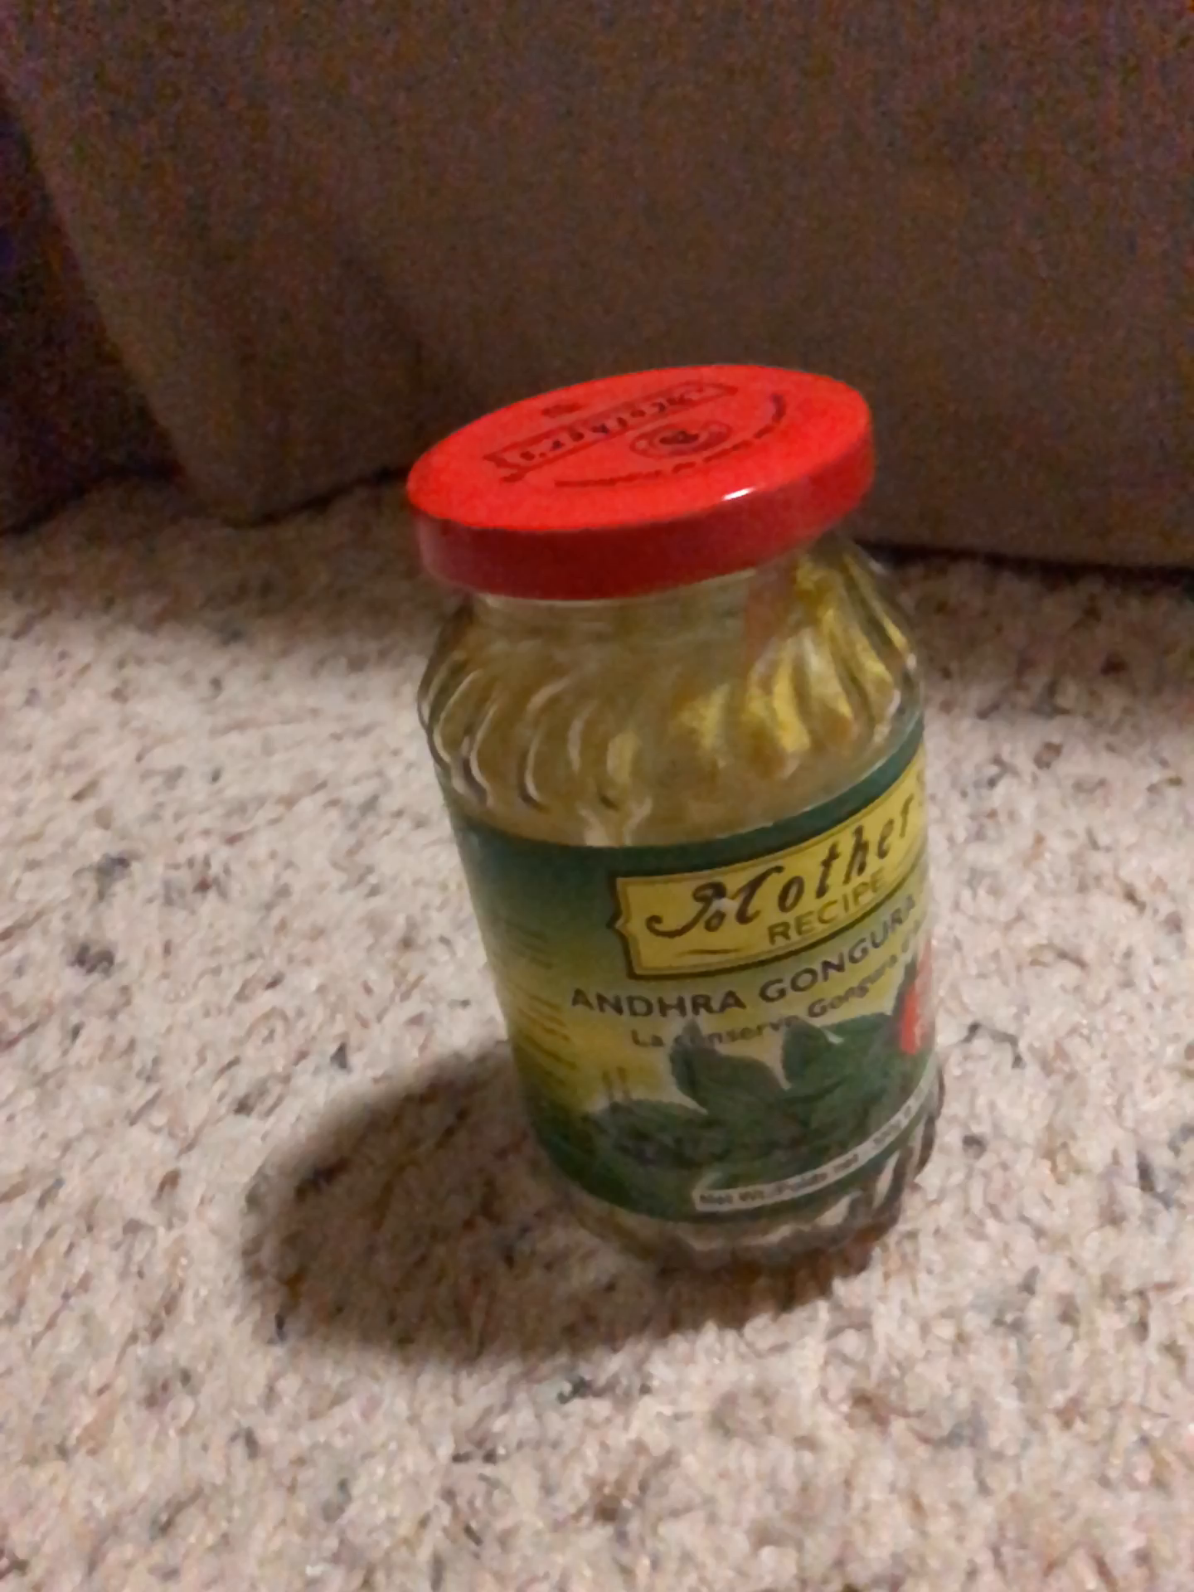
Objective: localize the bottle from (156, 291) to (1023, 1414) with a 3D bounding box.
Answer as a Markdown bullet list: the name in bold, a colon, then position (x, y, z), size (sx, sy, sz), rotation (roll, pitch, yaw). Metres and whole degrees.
- **bottle**: position (0.003, 0.003, 0.176), size (0.070, 0.110, 0.070), rotation (-7, 32, 4)
